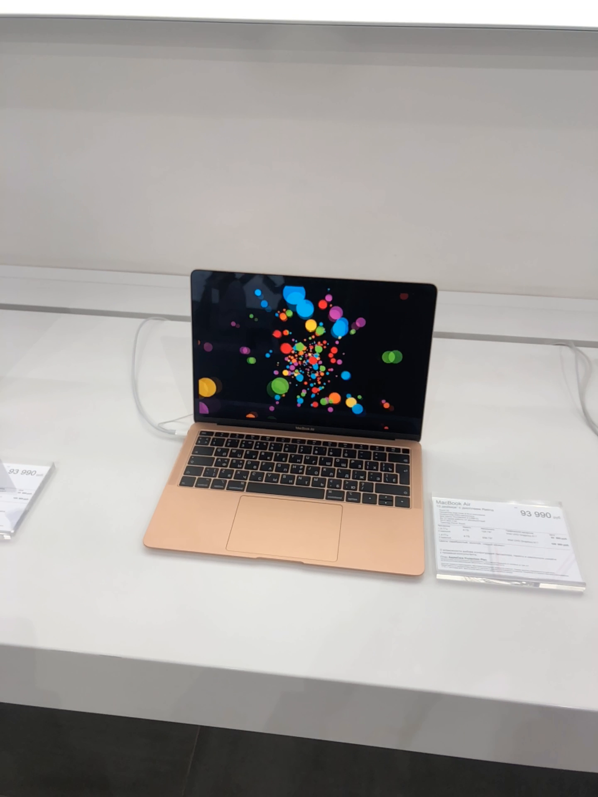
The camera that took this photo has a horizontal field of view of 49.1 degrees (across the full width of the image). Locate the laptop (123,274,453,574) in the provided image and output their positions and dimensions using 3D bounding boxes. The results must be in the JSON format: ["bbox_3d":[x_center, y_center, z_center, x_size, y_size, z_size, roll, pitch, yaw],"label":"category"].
[{"bbox_3d":[0.006,0.014,0.741,0.297,0.188,0.265,5,37,6],"label":"laptop"}]
